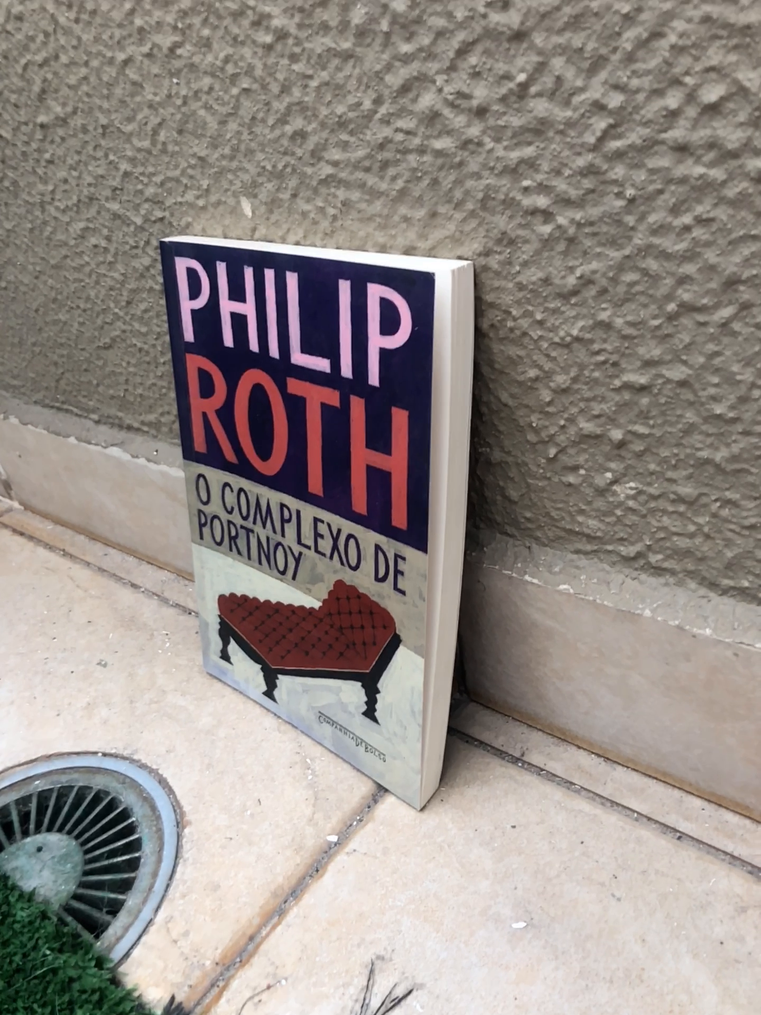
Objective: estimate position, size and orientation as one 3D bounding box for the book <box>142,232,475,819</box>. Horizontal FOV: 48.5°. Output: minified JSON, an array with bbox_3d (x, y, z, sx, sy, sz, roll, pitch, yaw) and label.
[{"bbox_3d":[-0.026,0.002,0.295,0.126,0.178,0.023,20,32,40],"label":"book"}]
